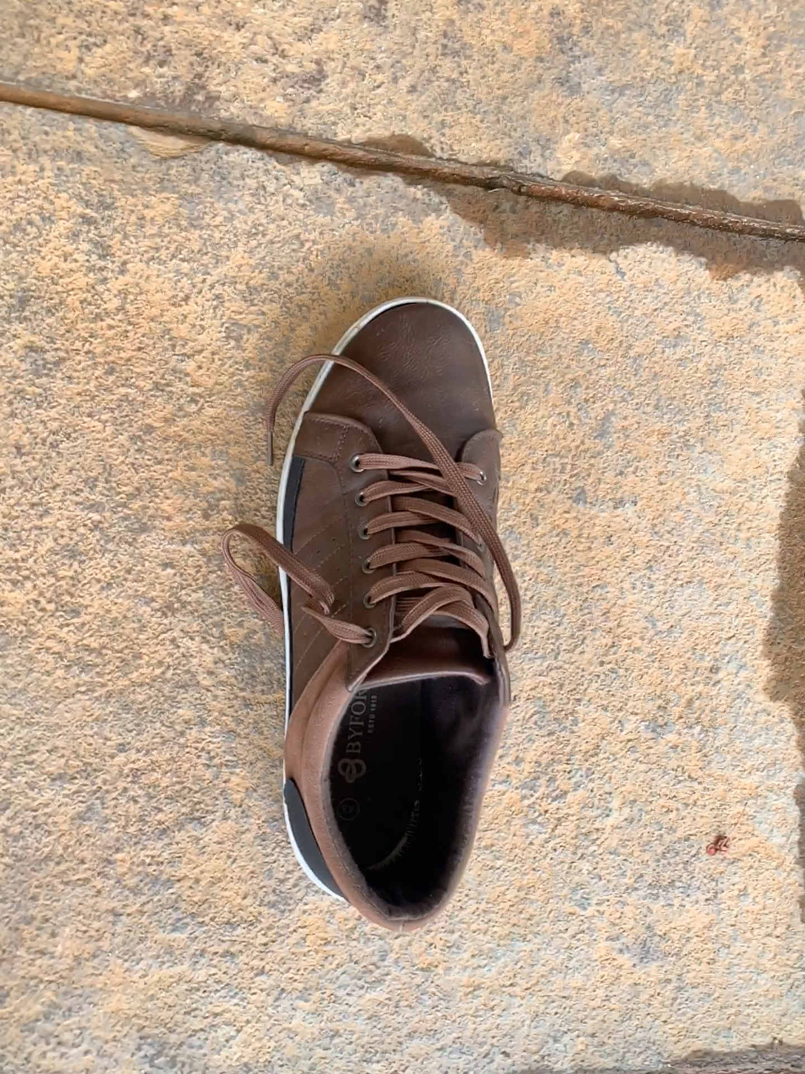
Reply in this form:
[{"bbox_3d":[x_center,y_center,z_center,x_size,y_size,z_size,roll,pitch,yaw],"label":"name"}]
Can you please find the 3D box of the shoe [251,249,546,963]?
[{"bbox_3d":[-0.005,0.031,0.397,0.110,0.080,0.300,4,87,-11],"label":"shoe"}]
